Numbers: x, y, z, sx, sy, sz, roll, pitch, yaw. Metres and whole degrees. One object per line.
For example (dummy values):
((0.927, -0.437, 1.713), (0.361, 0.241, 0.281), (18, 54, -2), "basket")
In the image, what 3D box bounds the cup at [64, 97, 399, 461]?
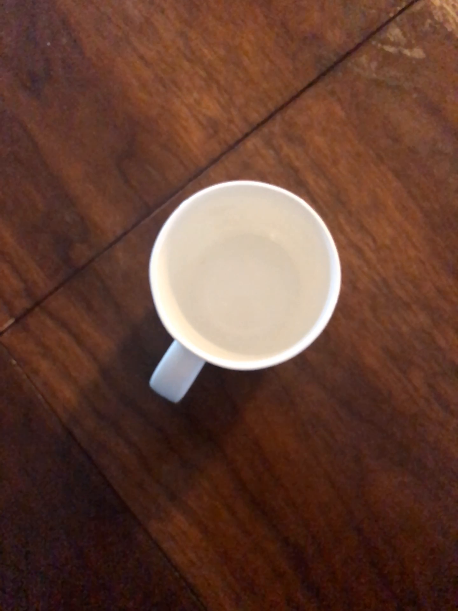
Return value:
((0.002, -0.011, 0.269), (0.090, 0.090, 0.130), (32, 90, 3), "cup")
